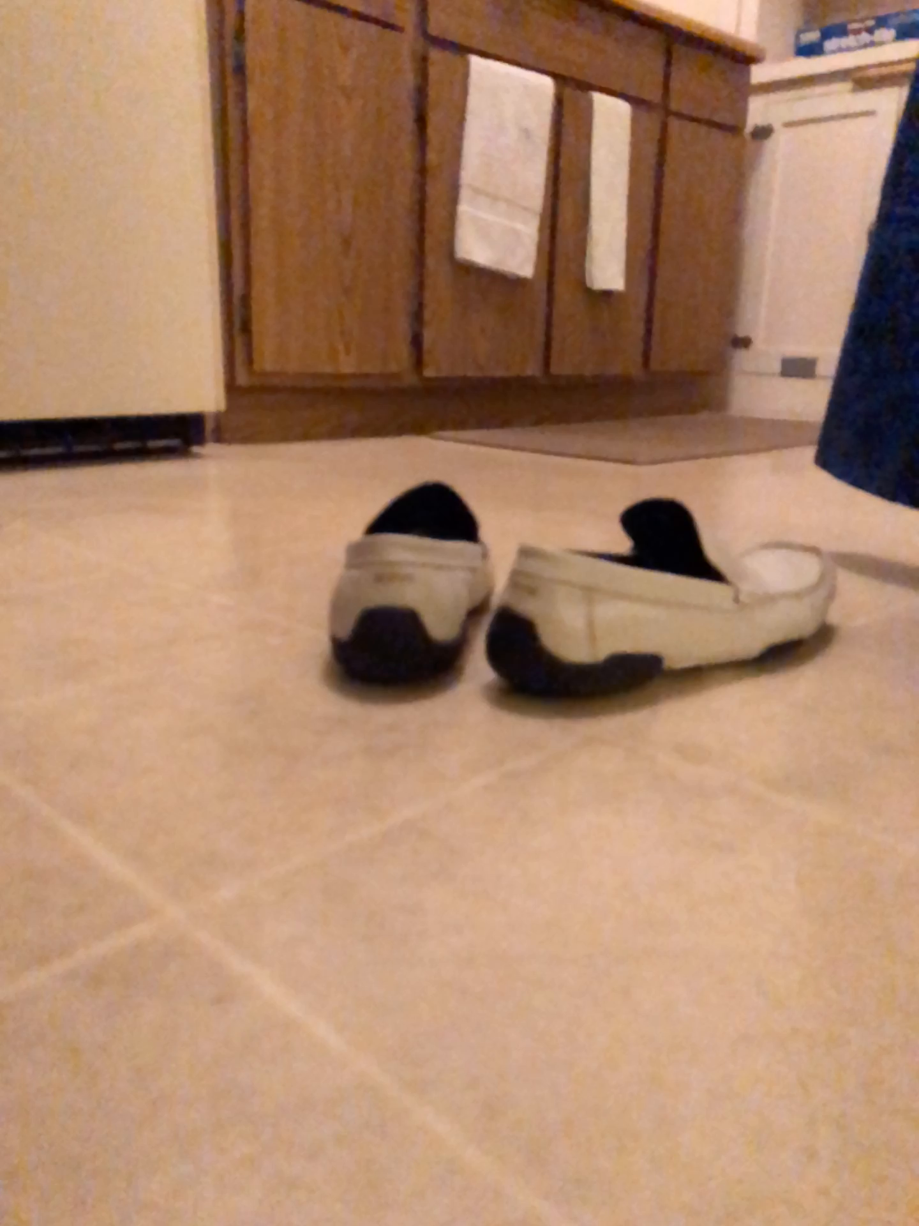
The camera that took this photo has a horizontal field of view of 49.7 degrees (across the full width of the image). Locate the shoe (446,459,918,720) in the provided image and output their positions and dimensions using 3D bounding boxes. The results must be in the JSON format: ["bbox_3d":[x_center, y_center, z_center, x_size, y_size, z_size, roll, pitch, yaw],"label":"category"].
[{"bbox_3d":[0.142,-0.029,0.592,0.290,0.097,0.111,-10,19,-36],"label":"shoe"}]

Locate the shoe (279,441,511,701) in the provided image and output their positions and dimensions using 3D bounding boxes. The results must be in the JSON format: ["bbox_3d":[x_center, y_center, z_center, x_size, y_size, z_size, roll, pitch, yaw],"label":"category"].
[{"bbox_3d":[-0.025,-0.045,0.639,0.110,0.097,0.307,2,15,3],"label":"shoe"}]
